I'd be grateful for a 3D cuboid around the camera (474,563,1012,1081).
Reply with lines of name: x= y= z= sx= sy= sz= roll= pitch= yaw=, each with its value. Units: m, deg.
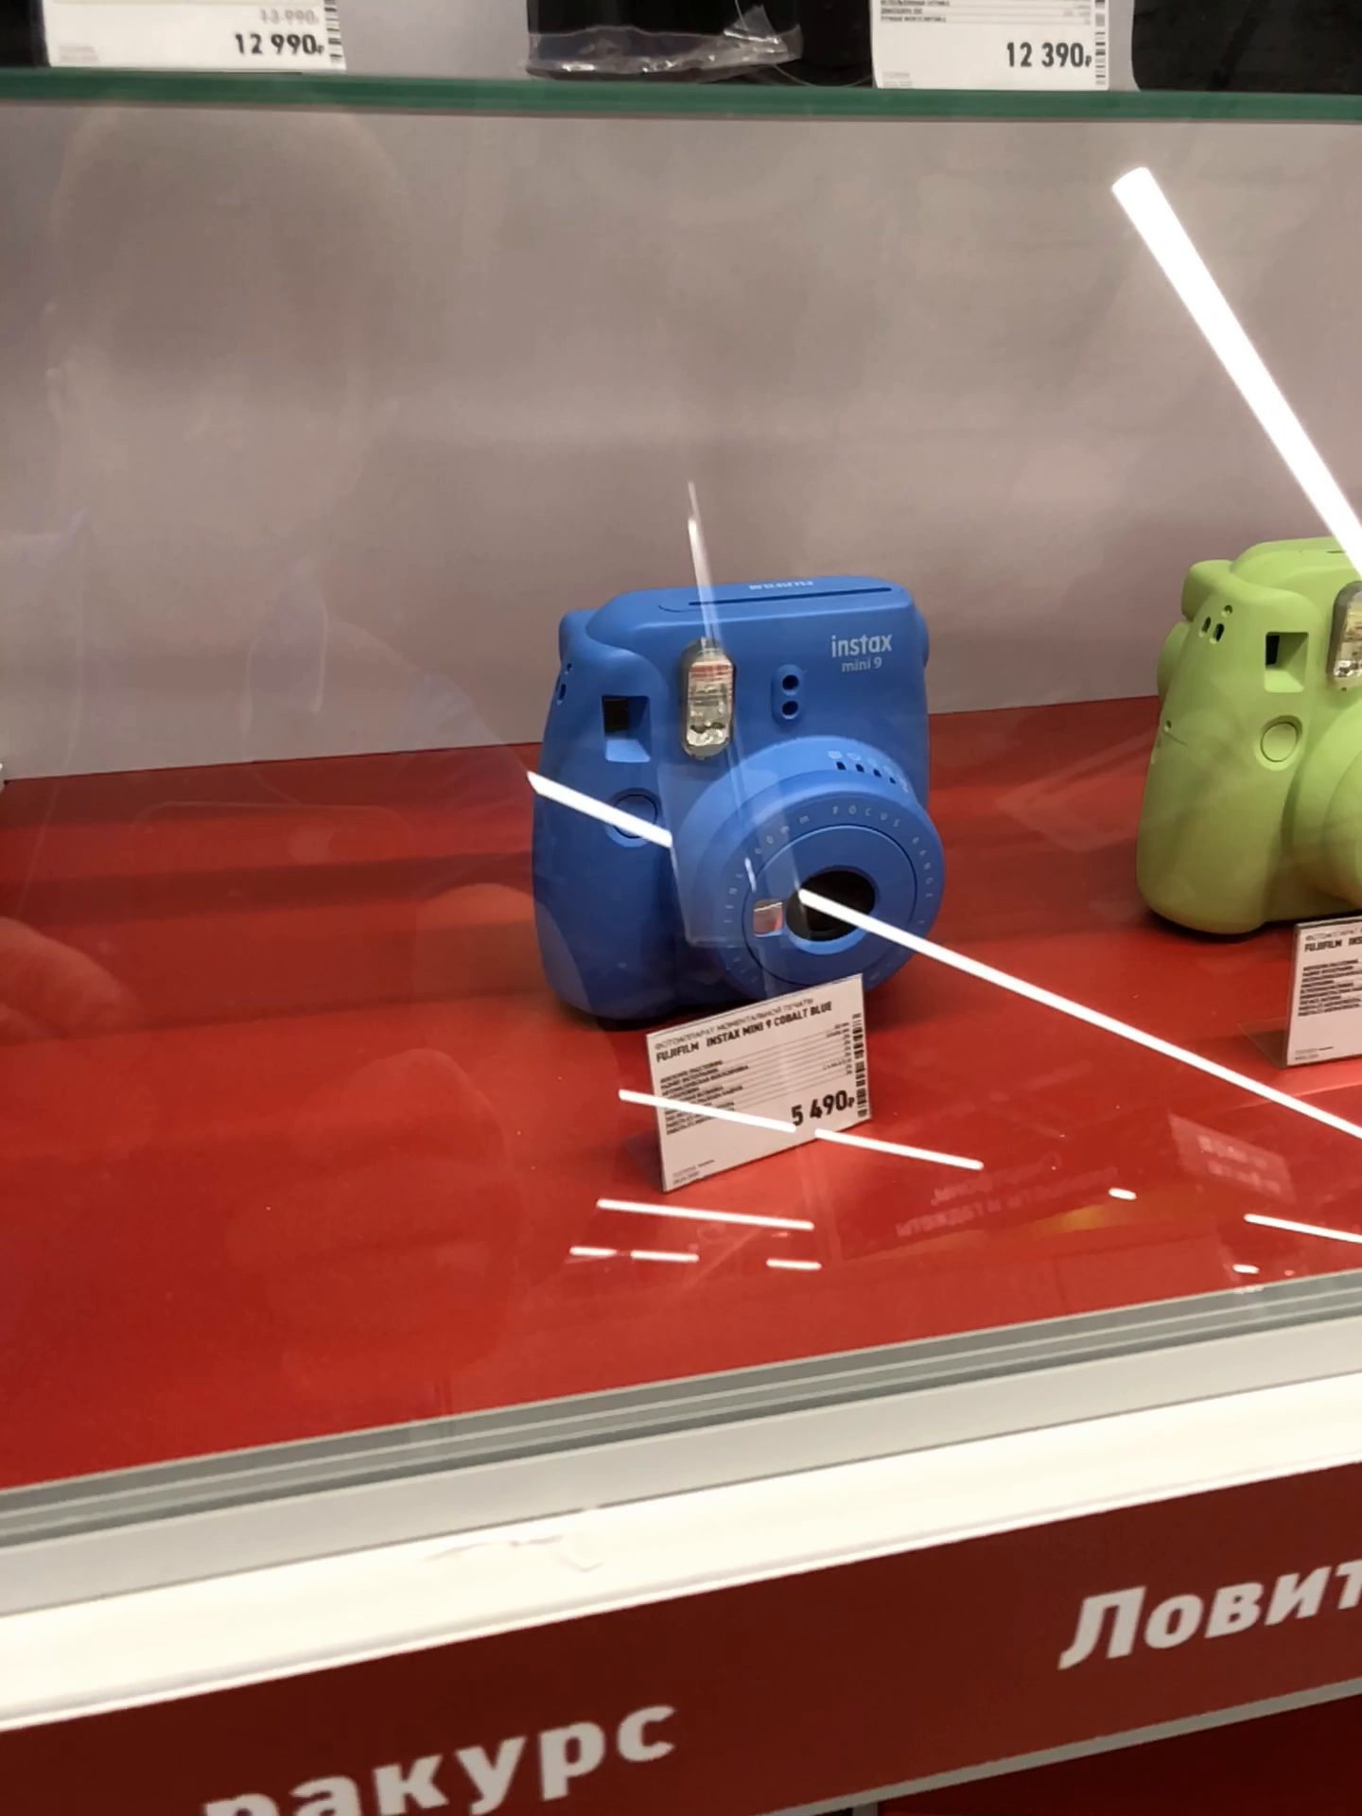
camera: x=0.013 y=-0.027 z=0.414 sx=0.122 sy=0.109 sz=0.070 roll=-8 pitch=29 yaw=-17
